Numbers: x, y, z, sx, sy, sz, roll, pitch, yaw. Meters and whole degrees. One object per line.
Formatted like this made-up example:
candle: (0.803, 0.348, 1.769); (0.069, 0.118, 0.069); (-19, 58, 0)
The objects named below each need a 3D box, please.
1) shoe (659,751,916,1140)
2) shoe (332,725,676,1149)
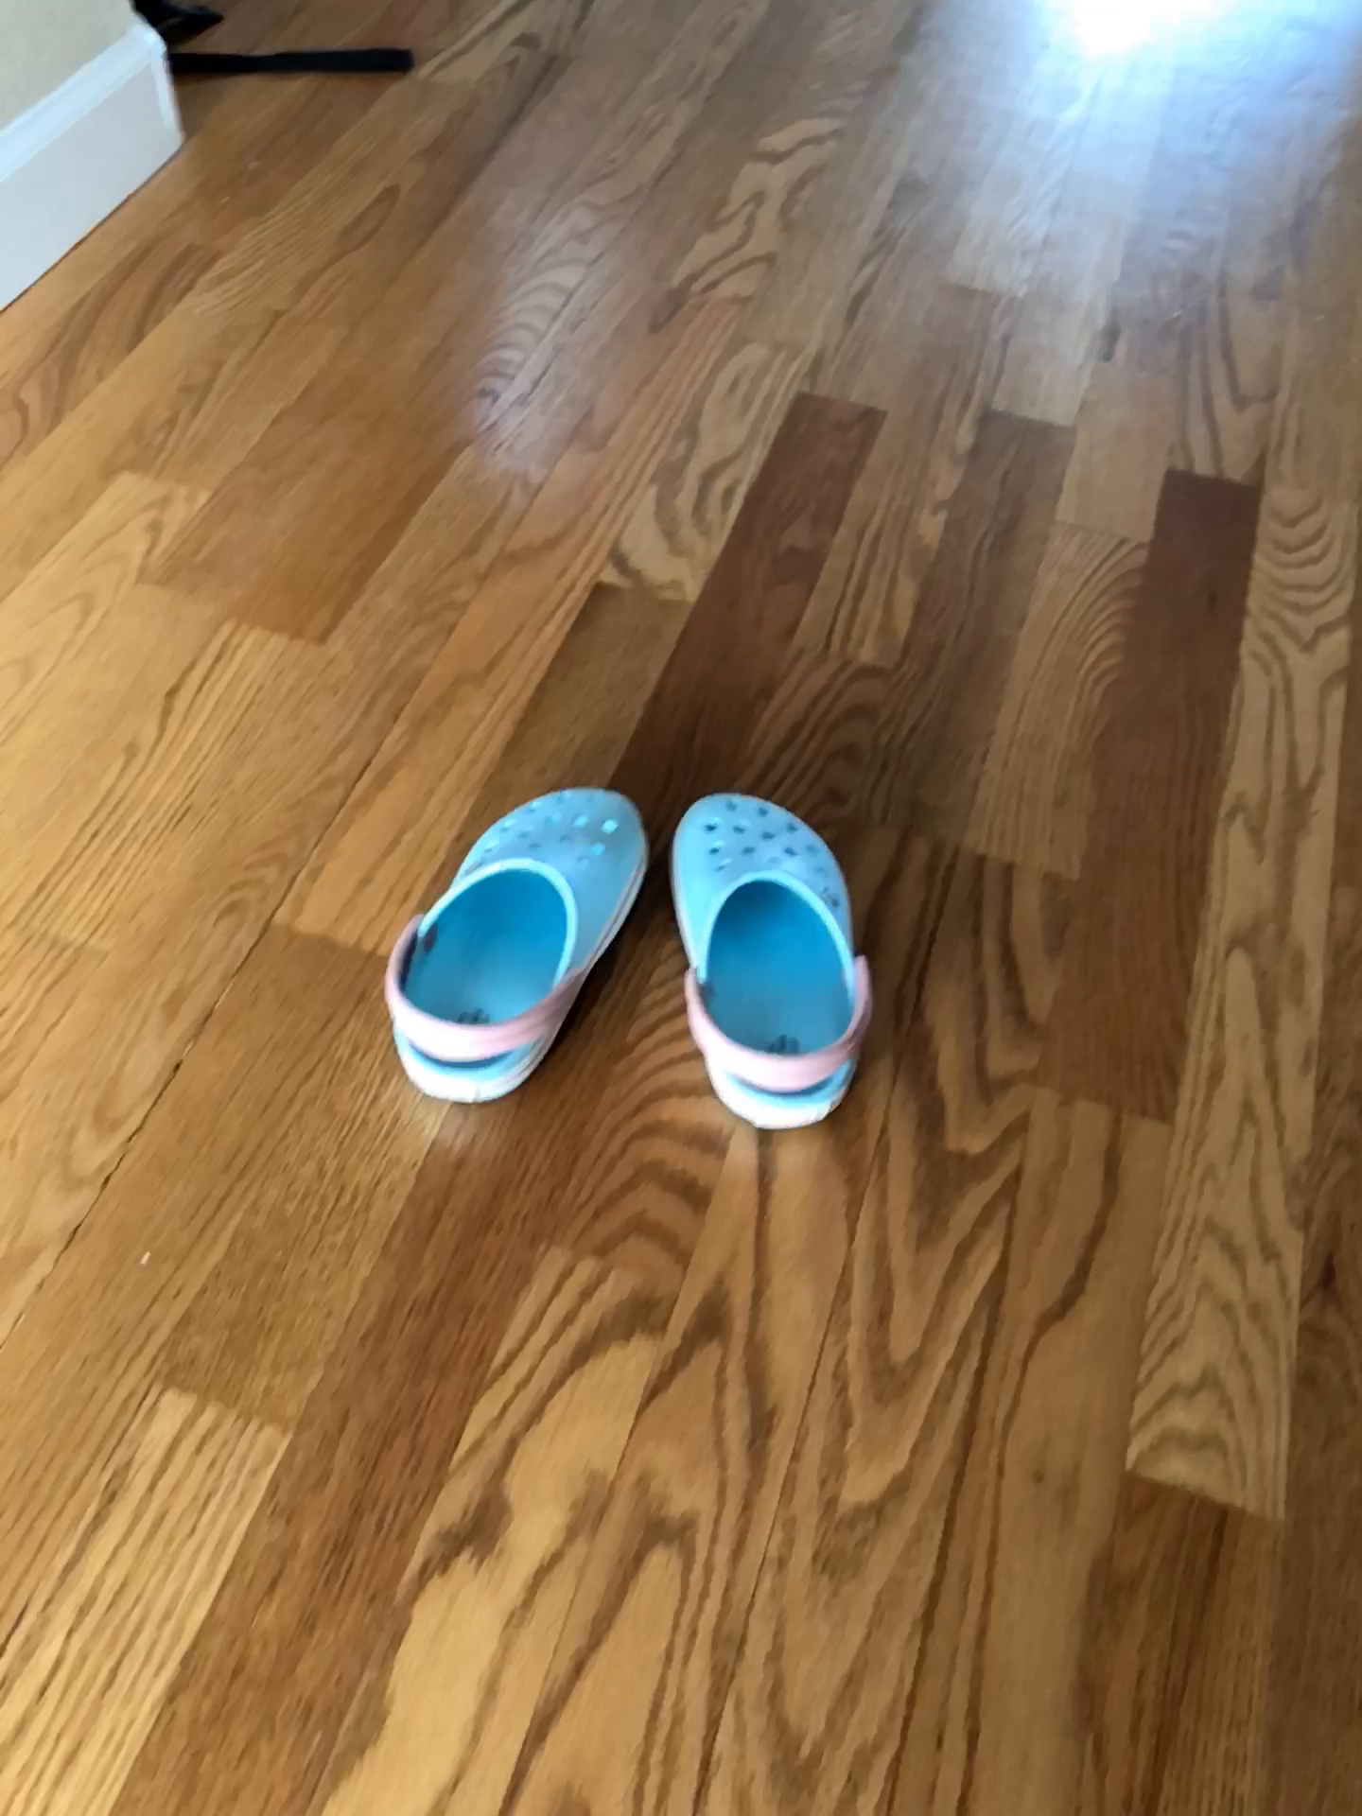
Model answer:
shoe: (0.040, 0.011, 0.638); (0.083, 0.048, 0.166); (-3, 52, -5)
shoe: (-0.069, 0.008, 0.640); (0.083, 0.057, 0.165); (17, 53, 10)
